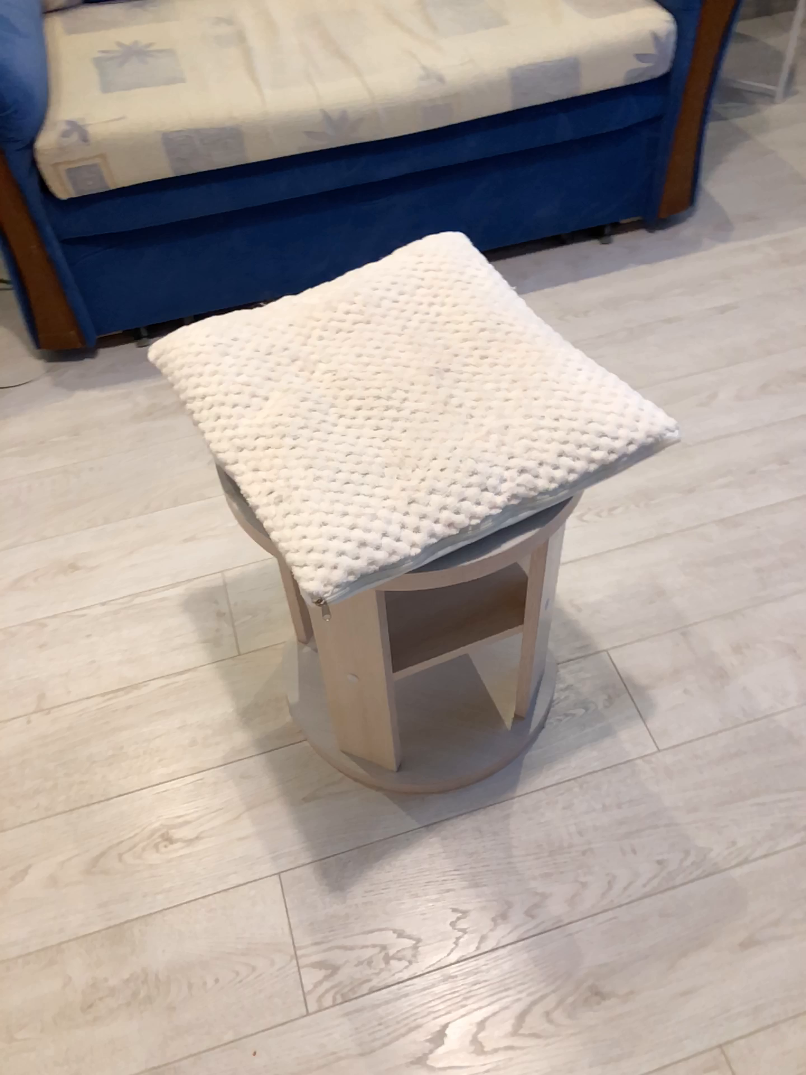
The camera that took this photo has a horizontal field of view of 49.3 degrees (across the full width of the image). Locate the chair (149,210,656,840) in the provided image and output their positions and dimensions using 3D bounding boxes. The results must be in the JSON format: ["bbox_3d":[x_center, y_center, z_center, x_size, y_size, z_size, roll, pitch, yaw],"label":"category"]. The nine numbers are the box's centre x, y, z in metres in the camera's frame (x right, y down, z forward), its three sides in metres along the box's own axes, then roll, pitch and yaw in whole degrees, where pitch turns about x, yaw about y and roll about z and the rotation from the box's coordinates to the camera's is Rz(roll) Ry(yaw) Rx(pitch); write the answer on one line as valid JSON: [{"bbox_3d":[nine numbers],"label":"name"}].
[{"bbox_3d":[-0.015,0.007,1.021,0.380,0.547,0.402,-13,51,-7],"label":"chair"}]
